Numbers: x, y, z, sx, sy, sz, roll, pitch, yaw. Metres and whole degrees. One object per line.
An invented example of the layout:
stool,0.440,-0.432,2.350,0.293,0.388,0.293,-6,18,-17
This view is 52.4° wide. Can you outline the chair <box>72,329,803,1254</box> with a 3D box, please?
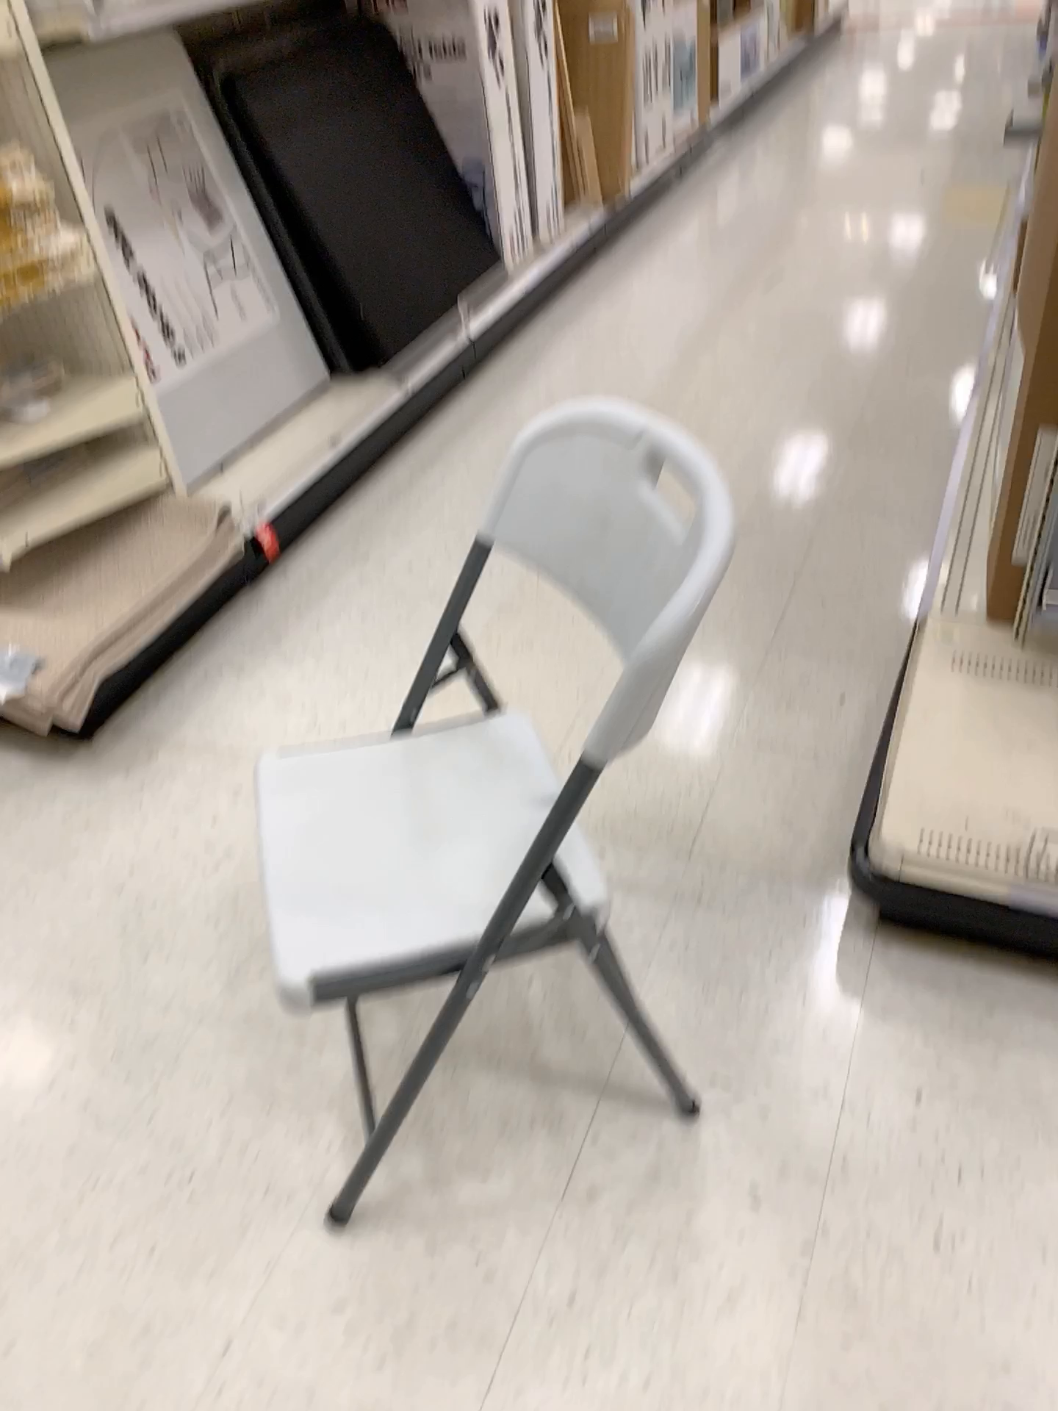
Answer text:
chair,-0.084,0.109,1.277,0.570,0.846,0.523,-14,39,-9
